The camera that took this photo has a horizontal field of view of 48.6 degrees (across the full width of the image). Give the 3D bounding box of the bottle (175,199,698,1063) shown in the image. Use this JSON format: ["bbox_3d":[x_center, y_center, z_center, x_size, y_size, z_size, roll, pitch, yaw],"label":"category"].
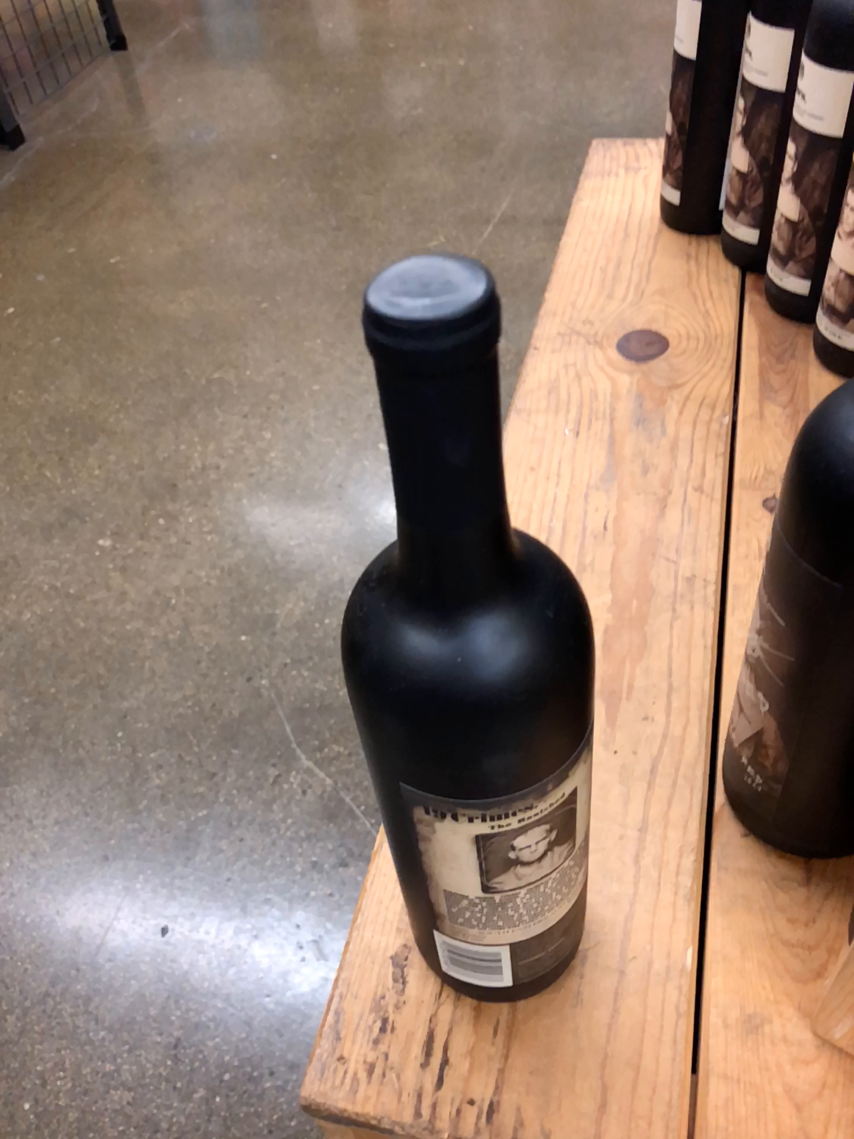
[{"bbox_3d":[0.013,0.053,0.302,0.080,0.299,0.080,-4,46,4],"label":"bottle"}]
